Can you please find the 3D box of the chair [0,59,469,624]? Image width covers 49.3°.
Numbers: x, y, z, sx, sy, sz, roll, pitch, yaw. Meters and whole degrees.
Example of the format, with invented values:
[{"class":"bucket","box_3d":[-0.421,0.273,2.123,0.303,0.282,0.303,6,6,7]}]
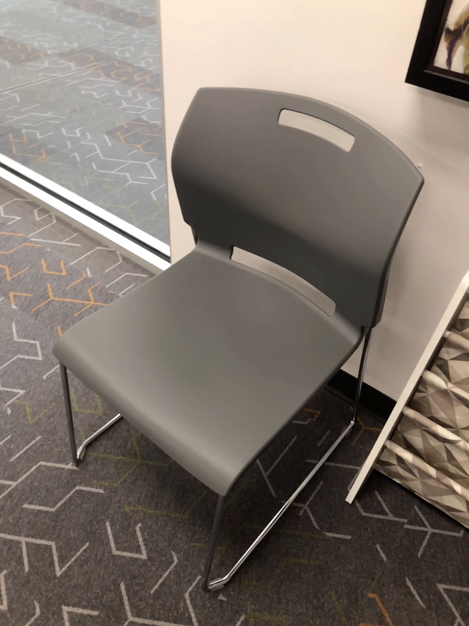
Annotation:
[{"class":"chair","box_3d":[-0.029,0.027,1.048,0.582,0.735,0.672,32,51,25]}]
